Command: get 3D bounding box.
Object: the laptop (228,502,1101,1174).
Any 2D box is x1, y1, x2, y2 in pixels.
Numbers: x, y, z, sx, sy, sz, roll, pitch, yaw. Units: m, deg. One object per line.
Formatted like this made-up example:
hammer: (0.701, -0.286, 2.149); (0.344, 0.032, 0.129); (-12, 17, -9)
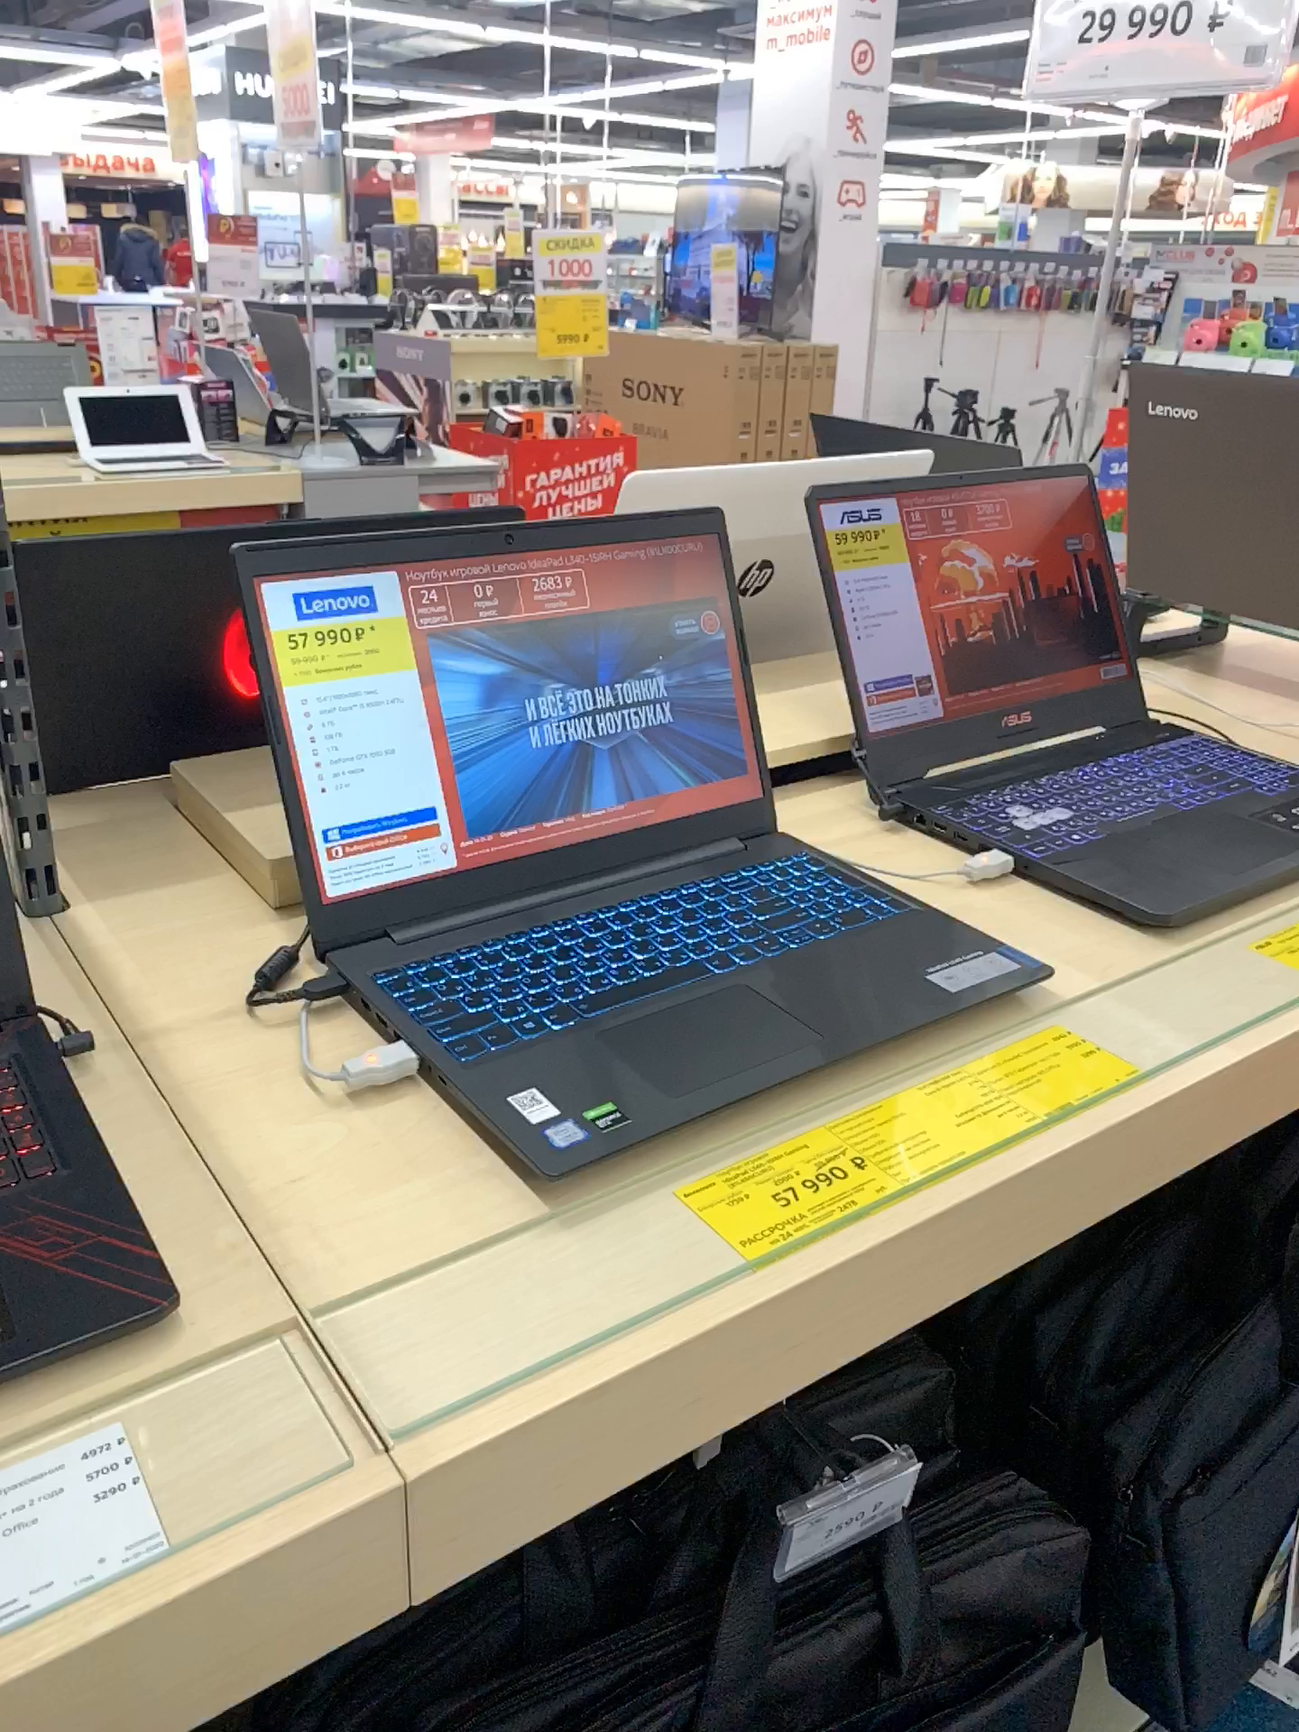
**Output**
laptop: (-0.004, -0.063, 0.795); (0.358, 0.223, 0.348); (-15, 30, -34)
